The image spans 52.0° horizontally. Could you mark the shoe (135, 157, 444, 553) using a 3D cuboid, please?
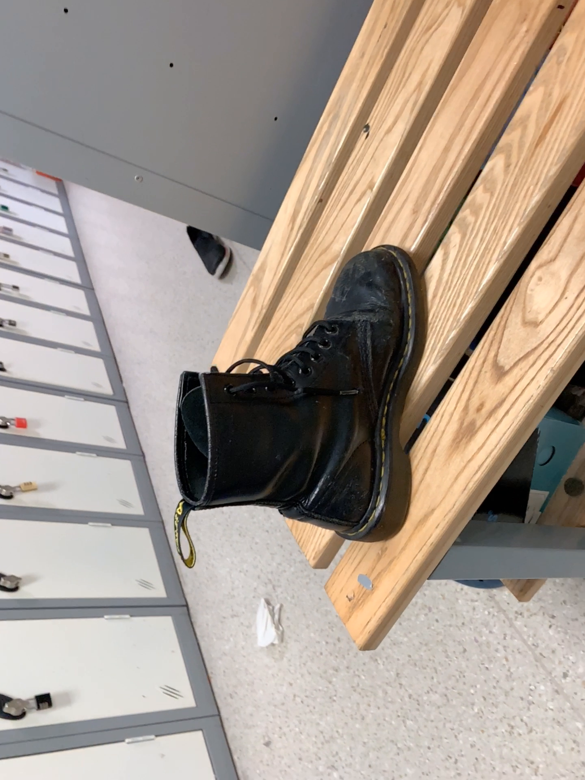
[{"bbox_3d":[0.006,-0.012,0.493,0.107,0.198,0.261,-6,75,55],"label":"shoe"}]
